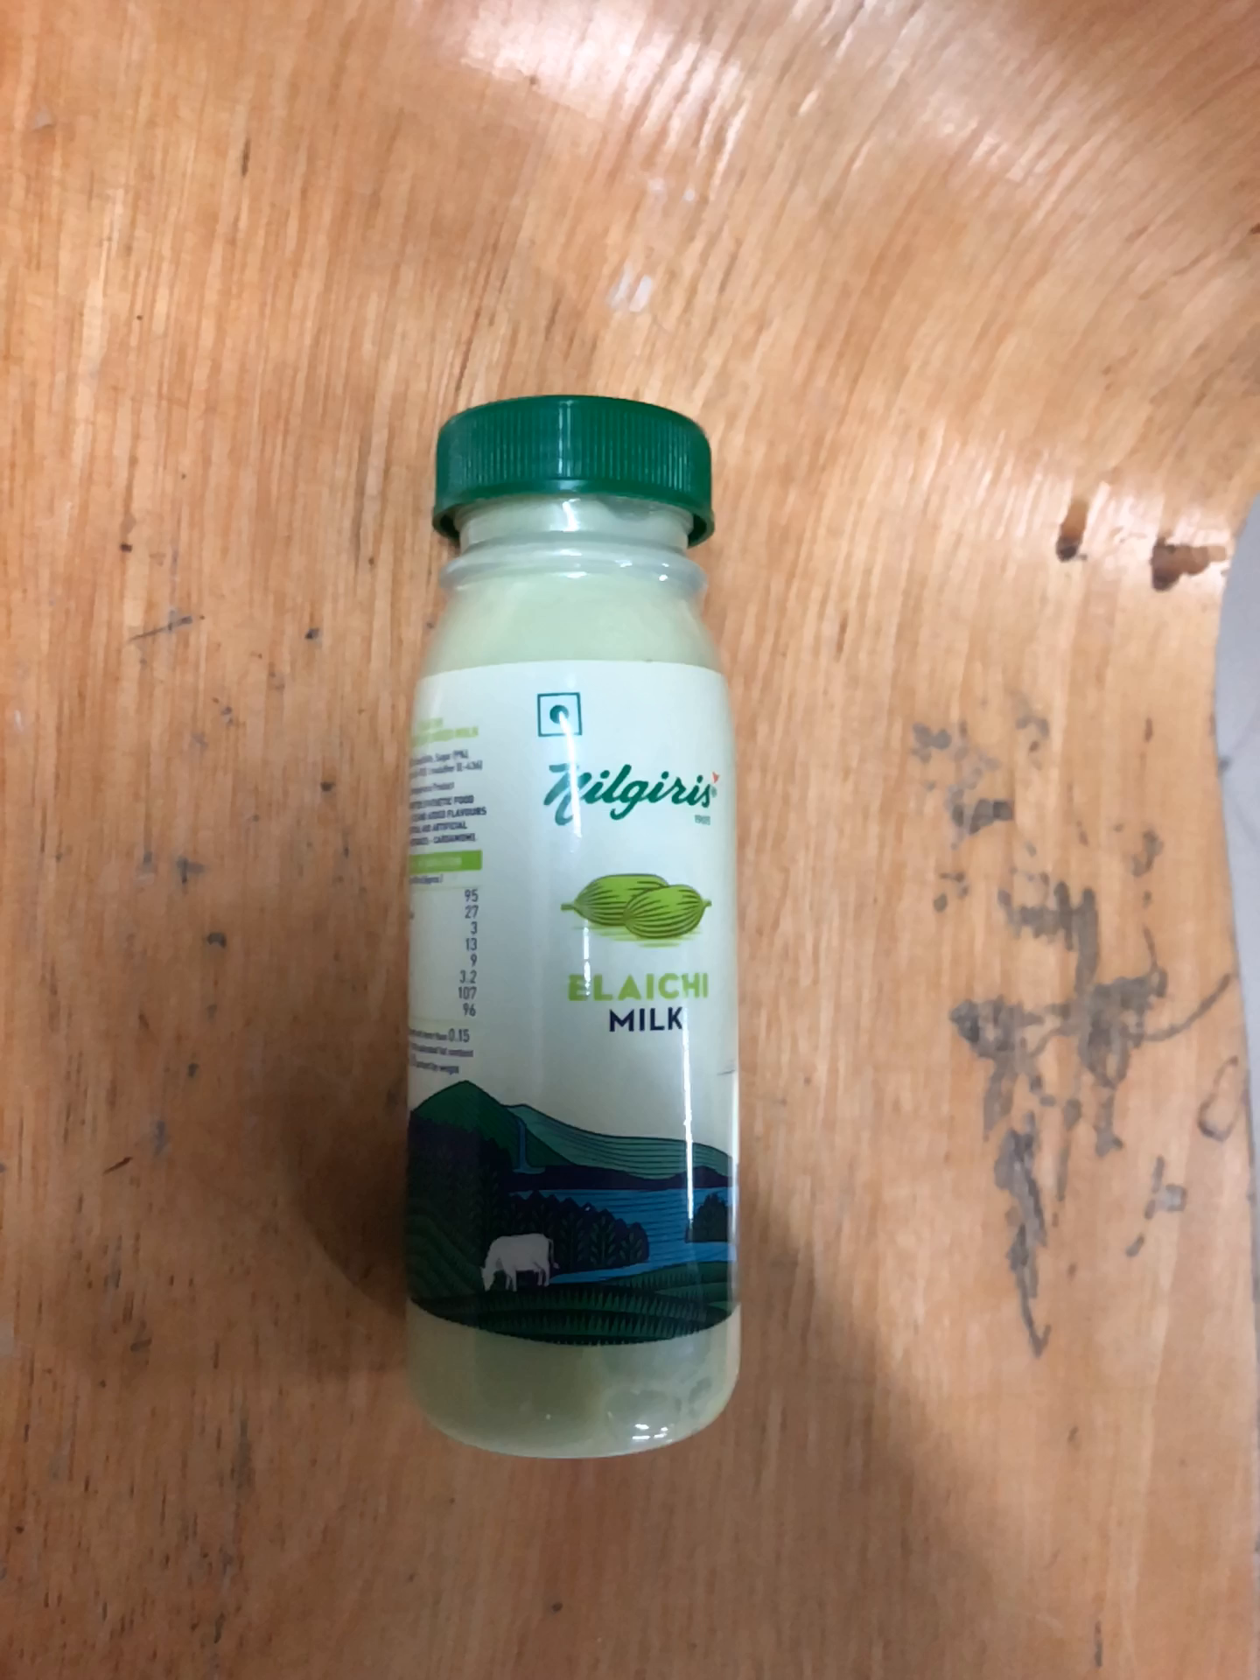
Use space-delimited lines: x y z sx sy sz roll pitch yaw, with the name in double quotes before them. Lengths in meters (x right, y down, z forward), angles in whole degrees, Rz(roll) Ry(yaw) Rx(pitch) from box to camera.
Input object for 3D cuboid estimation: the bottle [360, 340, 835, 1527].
"bottle" -0.005 0.011 0.197 0.050 0.040 0.140 3 87 -31
